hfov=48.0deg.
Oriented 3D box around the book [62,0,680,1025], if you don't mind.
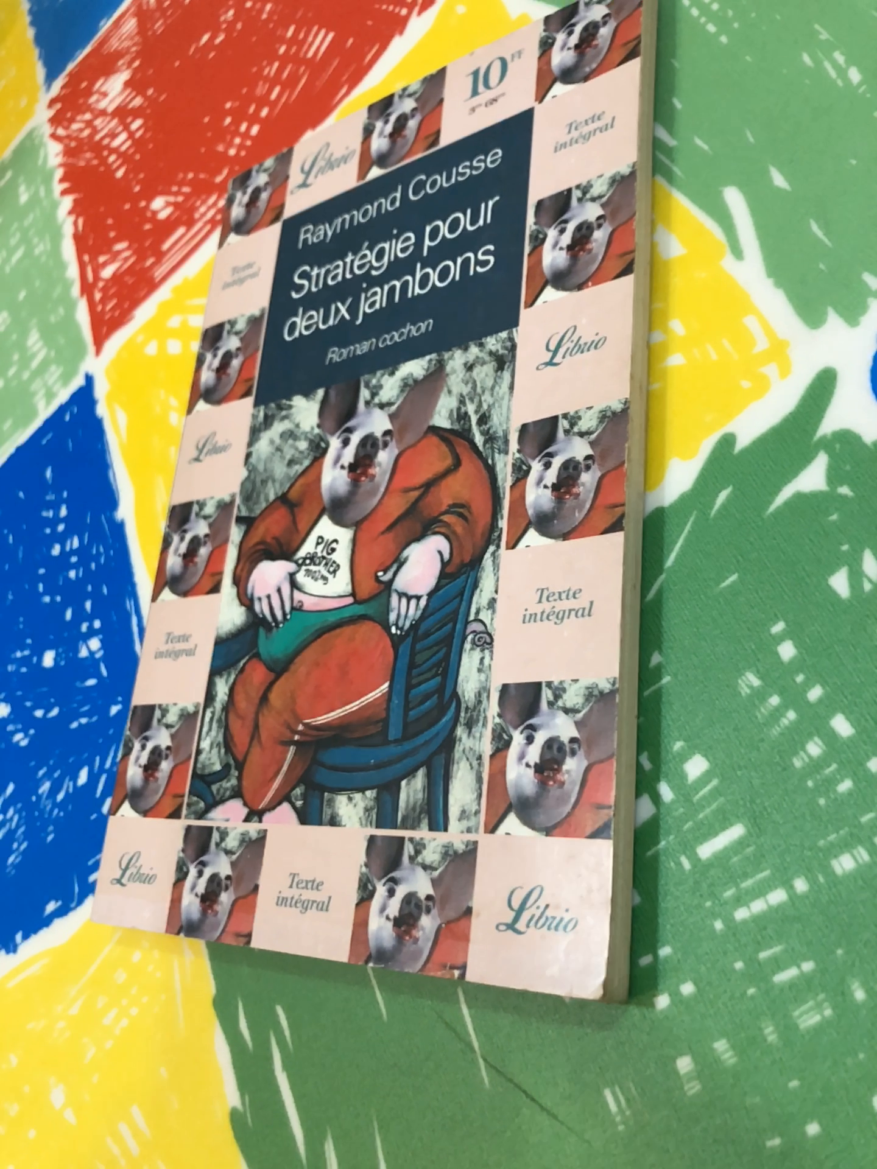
[{"bbox_3d":[-0.015,-0.025,0.206,0.131,0.013,0.197,-8,68,36],"label":"book"}]
